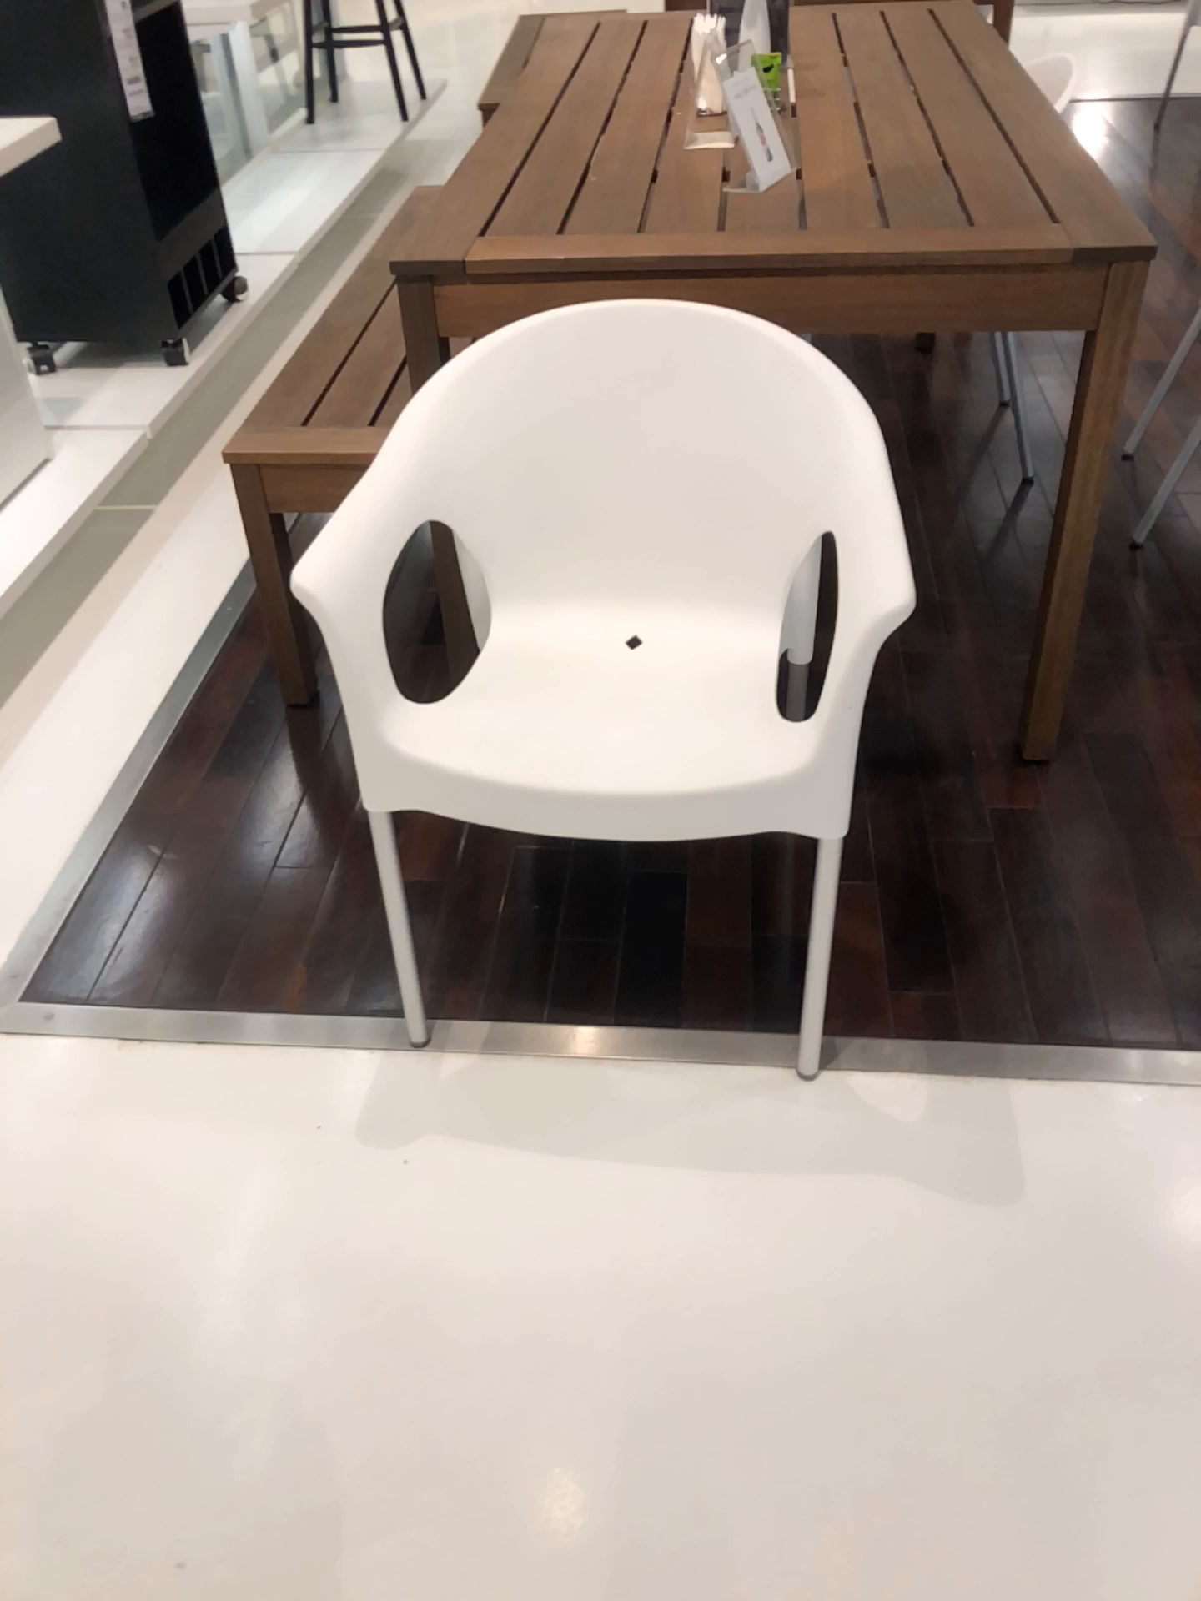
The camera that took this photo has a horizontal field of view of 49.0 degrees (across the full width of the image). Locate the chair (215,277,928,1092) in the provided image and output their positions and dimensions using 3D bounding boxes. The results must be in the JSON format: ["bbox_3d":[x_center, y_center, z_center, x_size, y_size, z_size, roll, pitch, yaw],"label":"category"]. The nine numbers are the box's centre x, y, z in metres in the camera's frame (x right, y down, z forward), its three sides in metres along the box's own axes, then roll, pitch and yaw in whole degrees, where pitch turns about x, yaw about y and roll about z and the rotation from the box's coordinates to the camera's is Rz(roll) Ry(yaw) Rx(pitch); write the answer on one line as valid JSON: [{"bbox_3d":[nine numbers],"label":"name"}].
[{"bbox_3d":[0.018,-0.138,1.496,0.580,0.704,0.564,2,39,7],"label":"chair"}]
